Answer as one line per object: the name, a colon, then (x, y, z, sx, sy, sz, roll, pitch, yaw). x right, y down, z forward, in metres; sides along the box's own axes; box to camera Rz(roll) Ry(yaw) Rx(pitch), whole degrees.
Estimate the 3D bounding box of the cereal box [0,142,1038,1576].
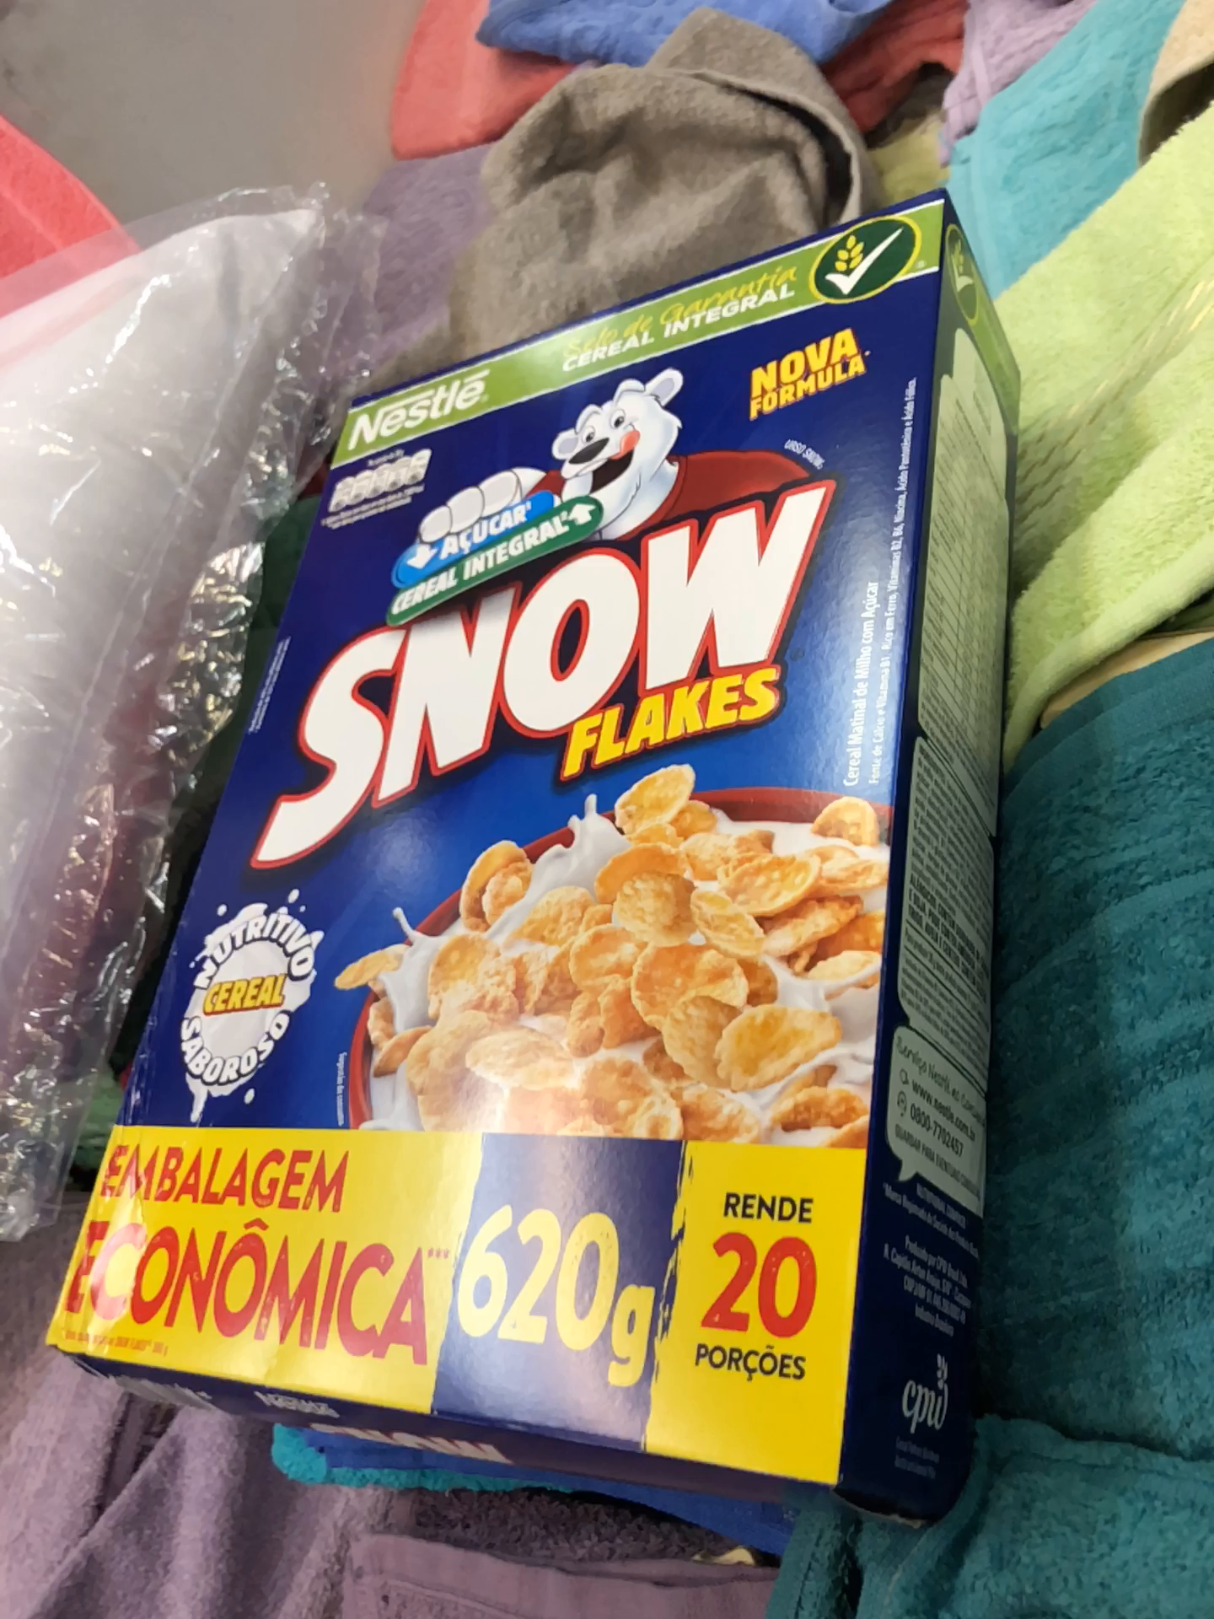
cereal box: (-0.018, -0.001, 0.343, 0.221, 0.070, 0.301, -8, 57, 34)
